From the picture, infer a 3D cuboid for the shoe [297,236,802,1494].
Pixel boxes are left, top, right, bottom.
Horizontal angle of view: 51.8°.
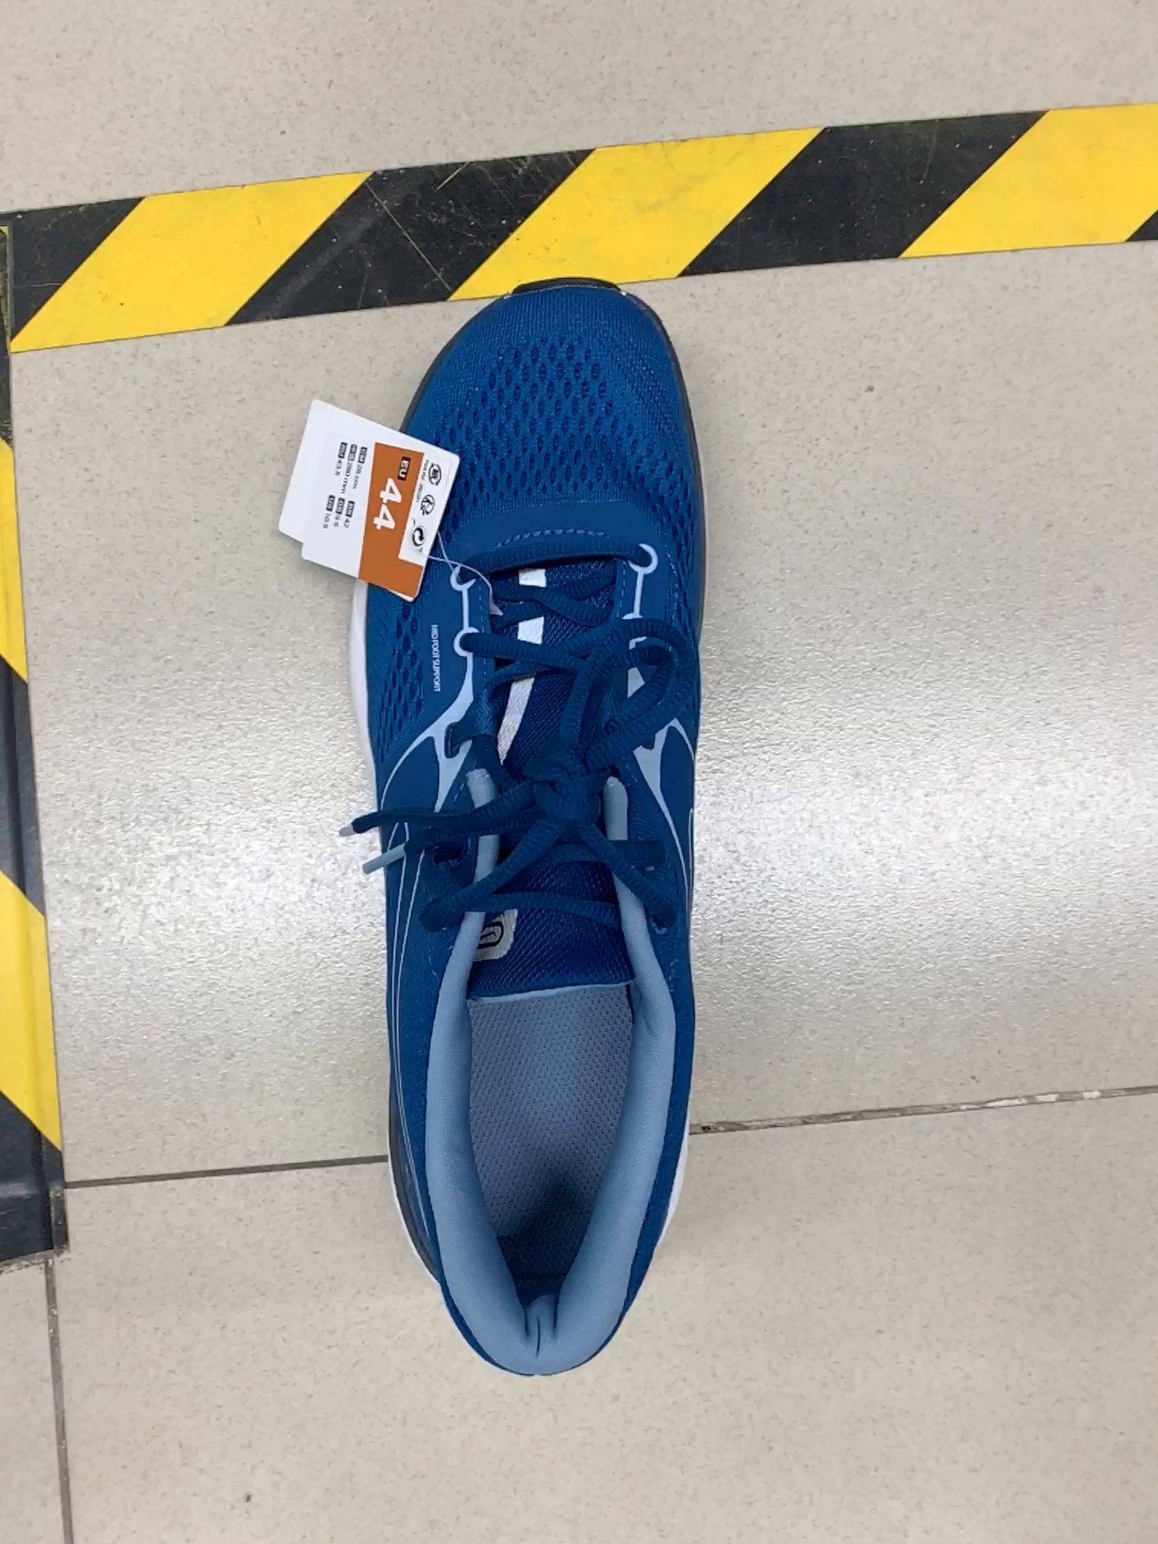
[{"bbox_3d":[-0.010,0.017,0.313,0.110,0.070,0.290,-2,82,0],"label":"shoe"}]
